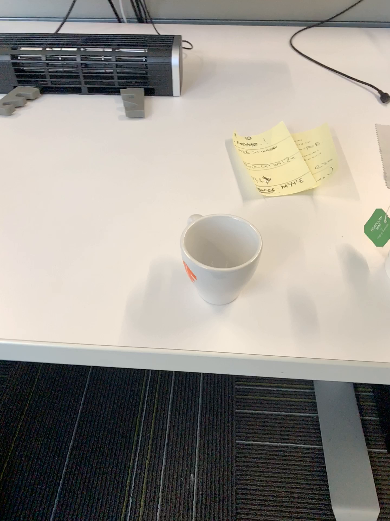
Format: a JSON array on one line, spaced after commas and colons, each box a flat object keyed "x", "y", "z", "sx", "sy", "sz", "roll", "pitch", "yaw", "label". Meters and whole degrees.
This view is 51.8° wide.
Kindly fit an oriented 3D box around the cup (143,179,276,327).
[{"x": 0.009, "y": -0.010, "z": 0.350, "sx": 0.070, "sy": 0.060, "sz": 0.100, "roll": -20, "pitch": 50, "yaw": -18, "label": "cup"}]
